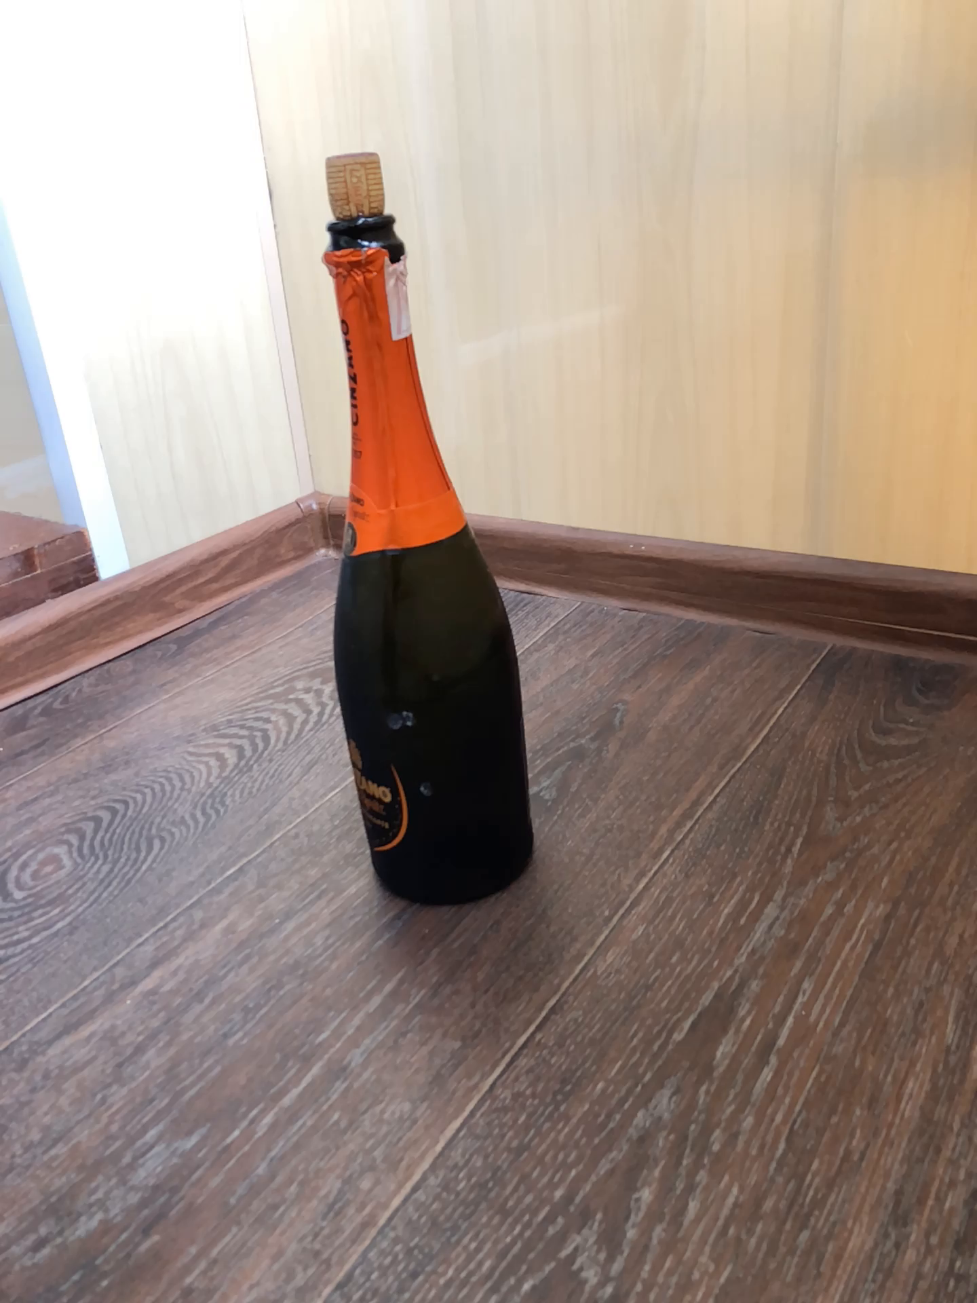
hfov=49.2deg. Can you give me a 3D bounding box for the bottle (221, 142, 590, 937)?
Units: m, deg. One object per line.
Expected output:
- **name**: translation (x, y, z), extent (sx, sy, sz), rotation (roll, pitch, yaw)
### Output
- **bottle**: translation (-0.029, -0.046, 0.489), extent (0.100, 0.328, 0.093), rotation (-4, 24, 2)
